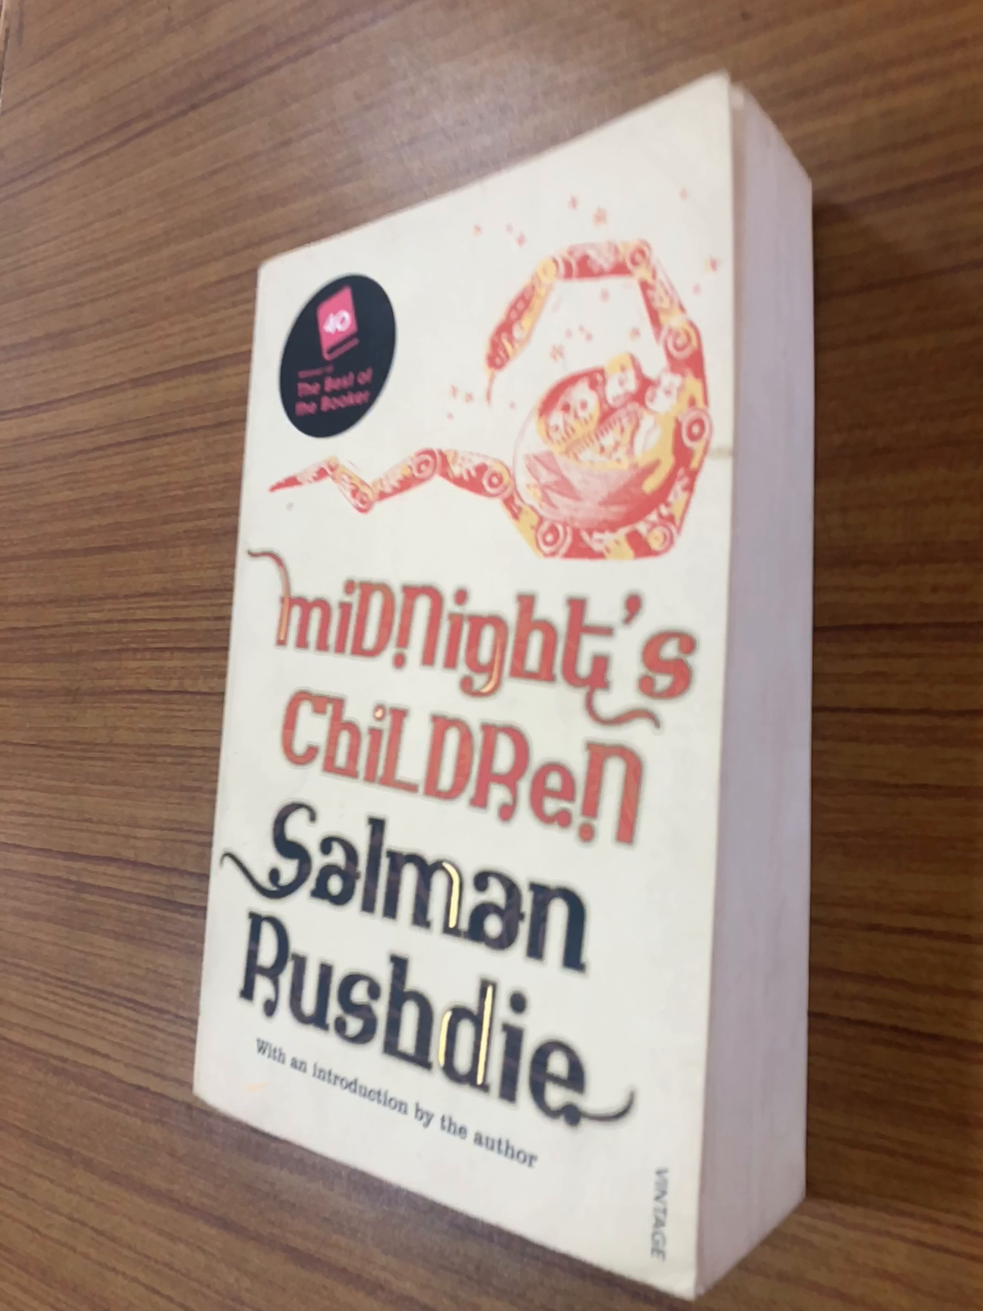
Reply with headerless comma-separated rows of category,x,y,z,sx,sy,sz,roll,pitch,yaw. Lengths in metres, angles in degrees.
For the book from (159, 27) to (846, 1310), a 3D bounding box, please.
book,-0.004,0.002,0.227,0.141,0.040,0.200,-2,82,40
